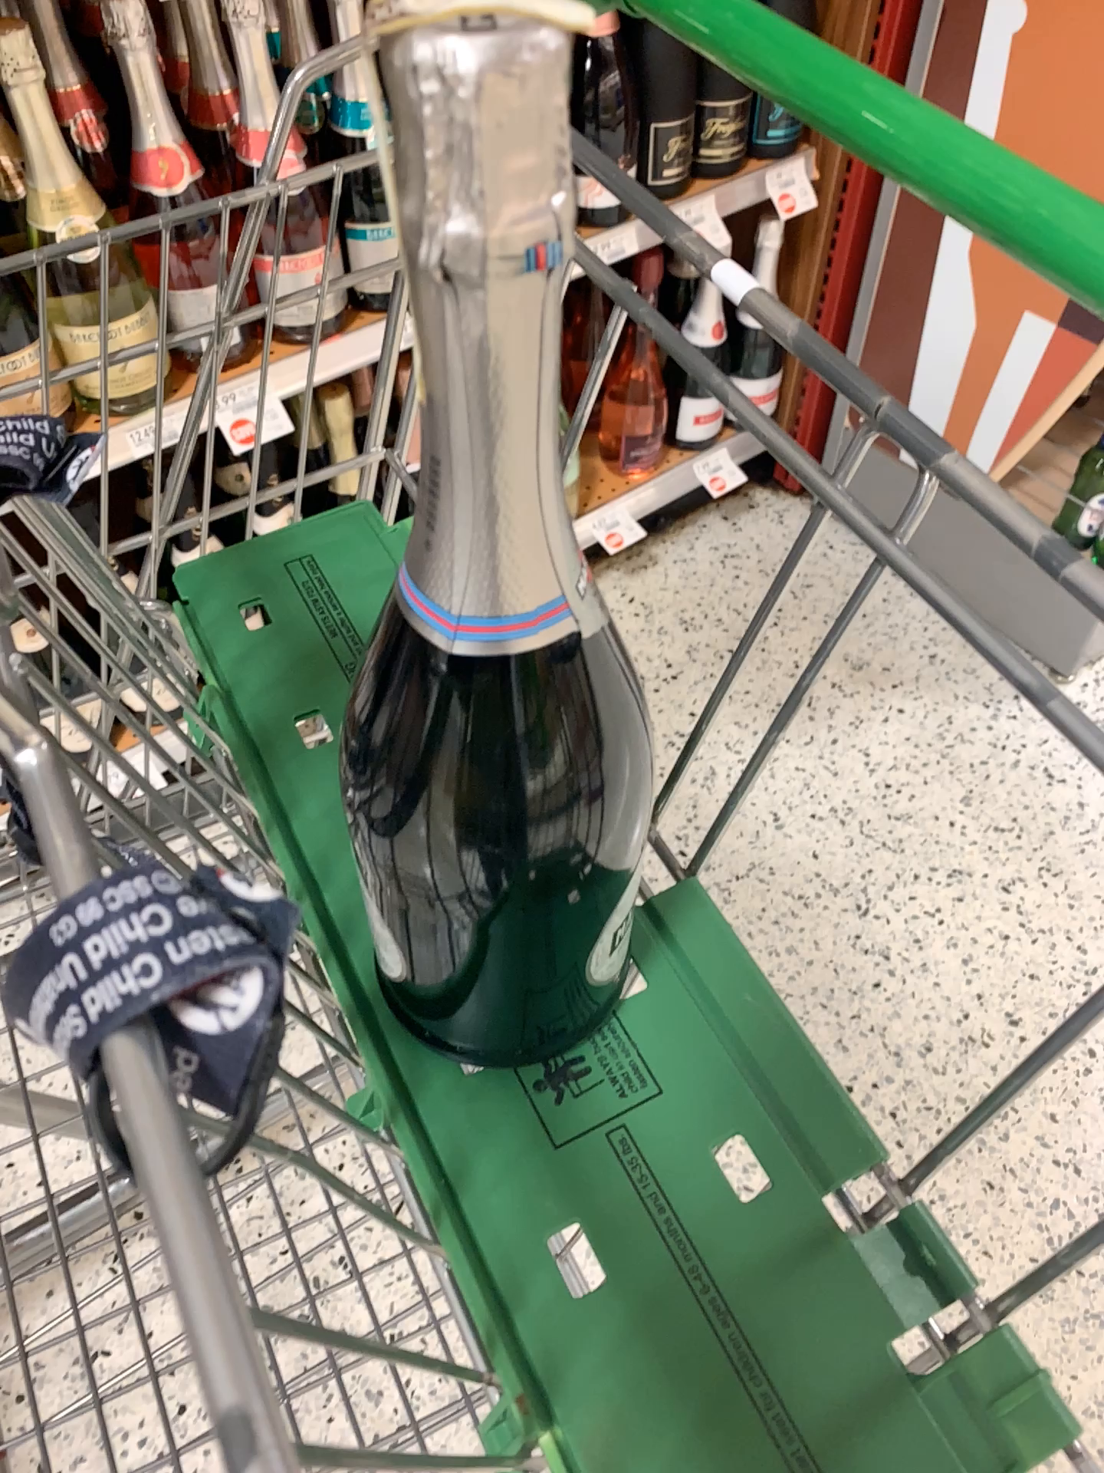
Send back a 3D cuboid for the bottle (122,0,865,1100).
[{"bbox_3d":[-0.011,-0.013,0.296,0.100,0.287,0.101,0,51,0],"label":"bottle"}]
